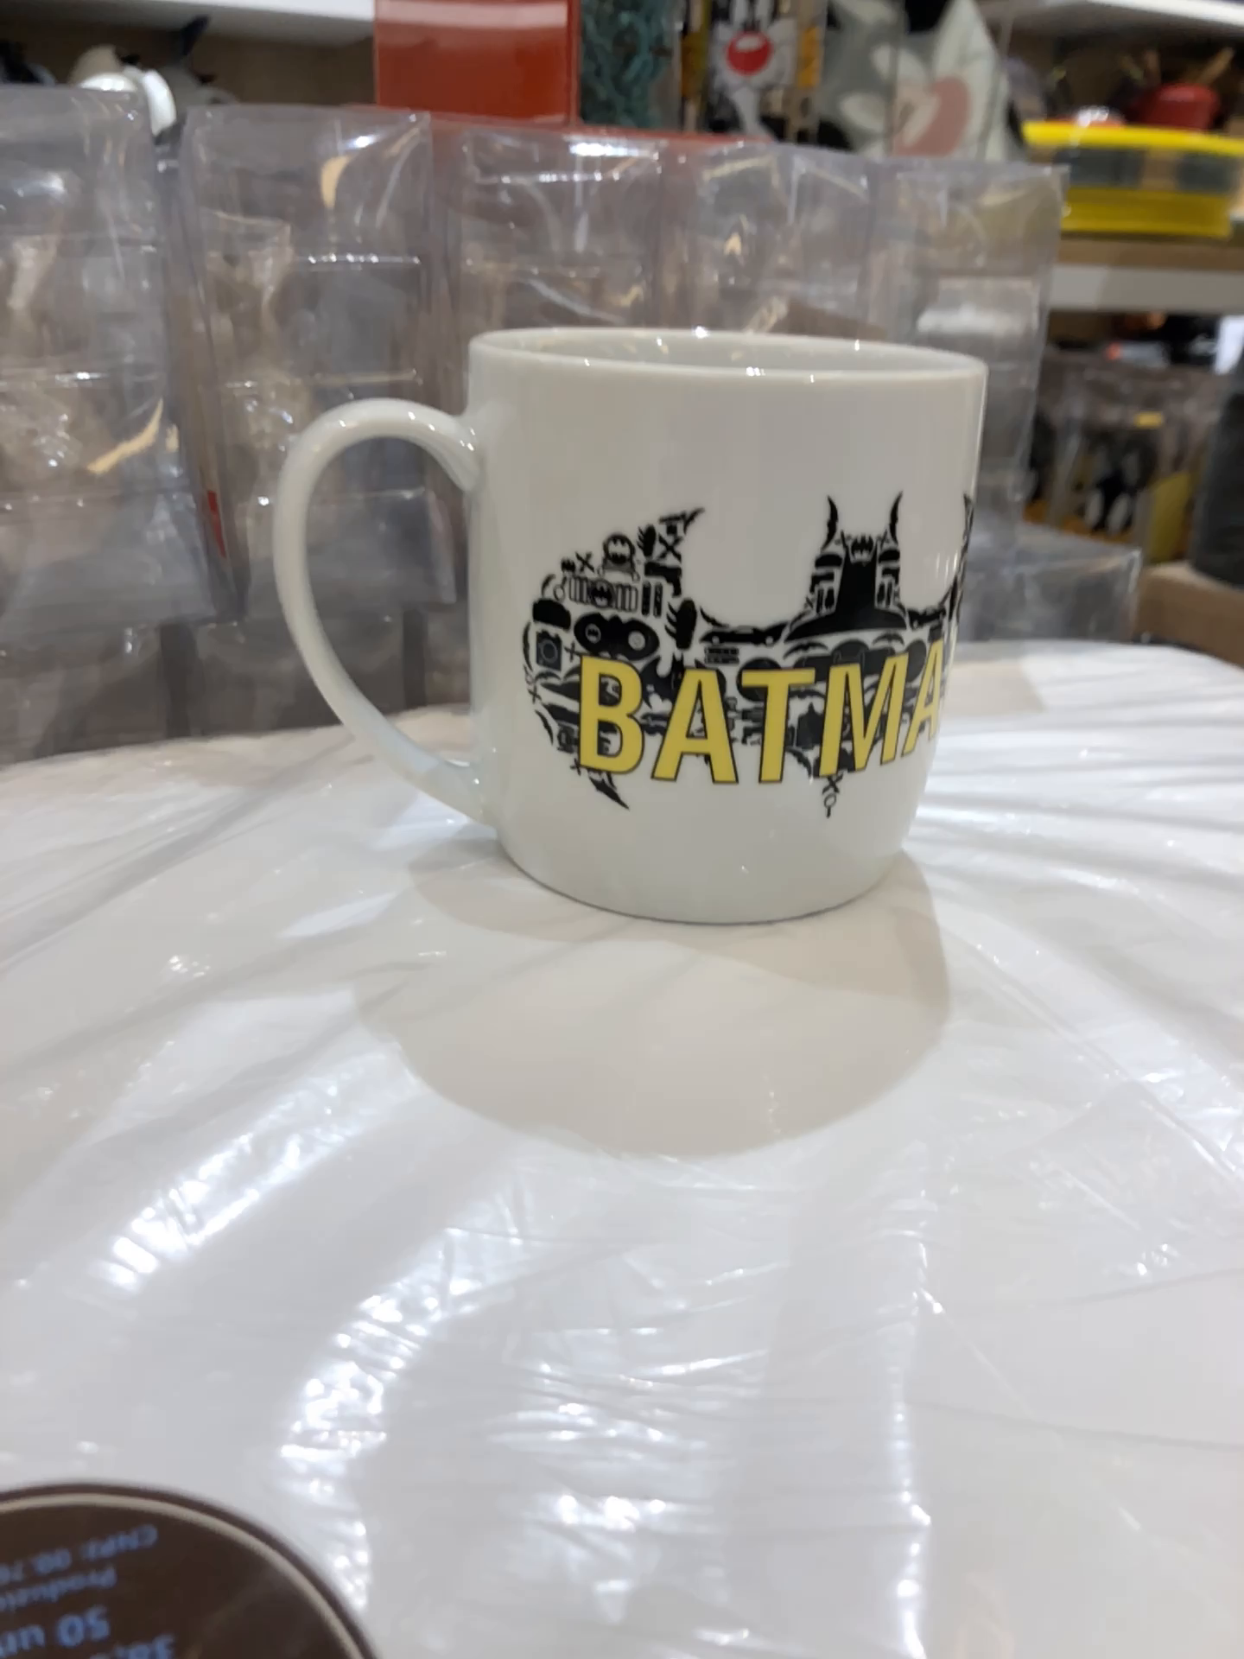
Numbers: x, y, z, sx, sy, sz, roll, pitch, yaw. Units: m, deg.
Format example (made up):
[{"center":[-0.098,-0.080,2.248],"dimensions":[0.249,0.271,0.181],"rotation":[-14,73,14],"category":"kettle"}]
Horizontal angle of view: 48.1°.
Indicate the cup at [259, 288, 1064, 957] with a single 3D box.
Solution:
[{"center":[-0.002,-0.041,0.237],"dimensions":[0.110,0.089,0.081],"rotation":[-3,23,-13],"category":"cup"}]
